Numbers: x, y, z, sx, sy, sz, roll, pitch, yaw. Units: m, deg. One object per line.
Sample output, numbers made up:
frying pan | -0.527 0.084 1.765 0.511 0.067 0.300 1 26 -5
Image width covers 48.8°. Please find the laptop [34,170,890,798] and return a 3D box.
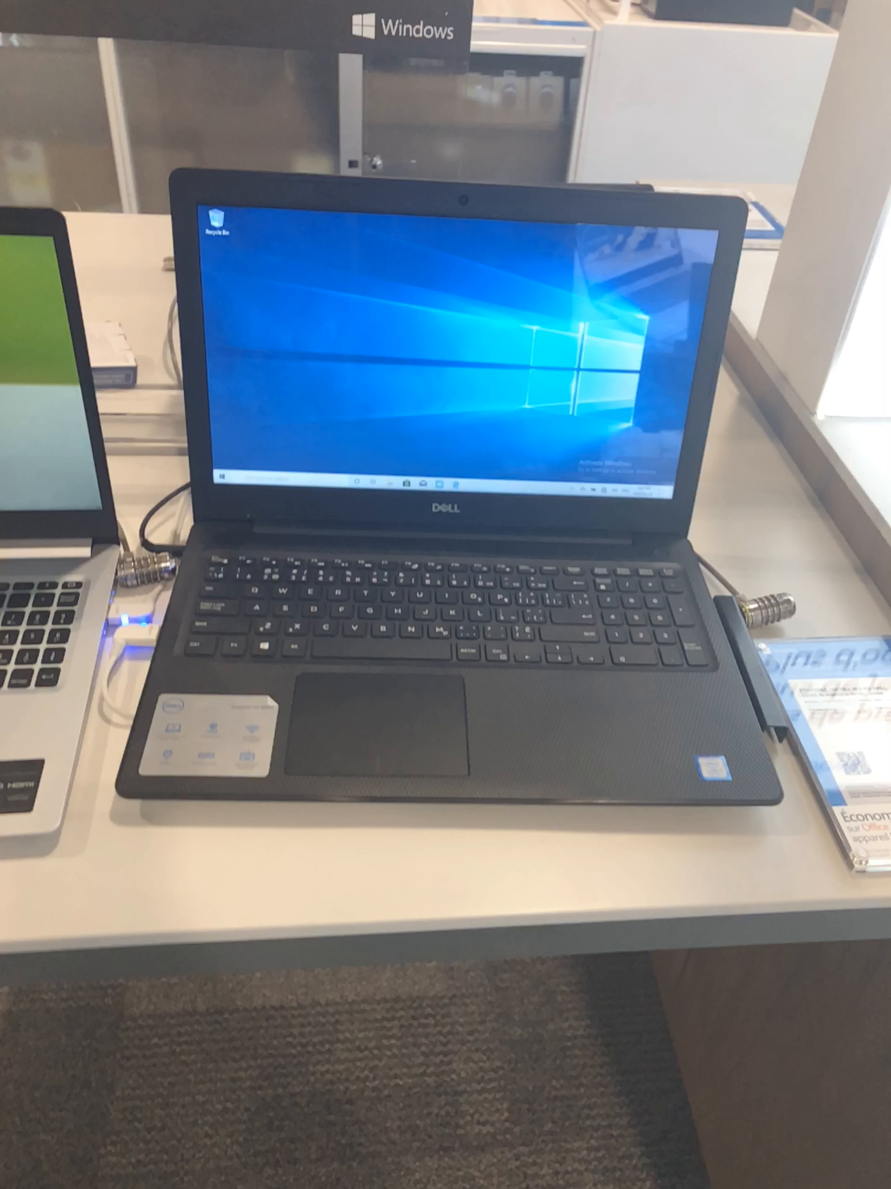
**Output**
laptop | 0.006 -0.077 0.595 0.368 0.230 0.311 2 40 -4
